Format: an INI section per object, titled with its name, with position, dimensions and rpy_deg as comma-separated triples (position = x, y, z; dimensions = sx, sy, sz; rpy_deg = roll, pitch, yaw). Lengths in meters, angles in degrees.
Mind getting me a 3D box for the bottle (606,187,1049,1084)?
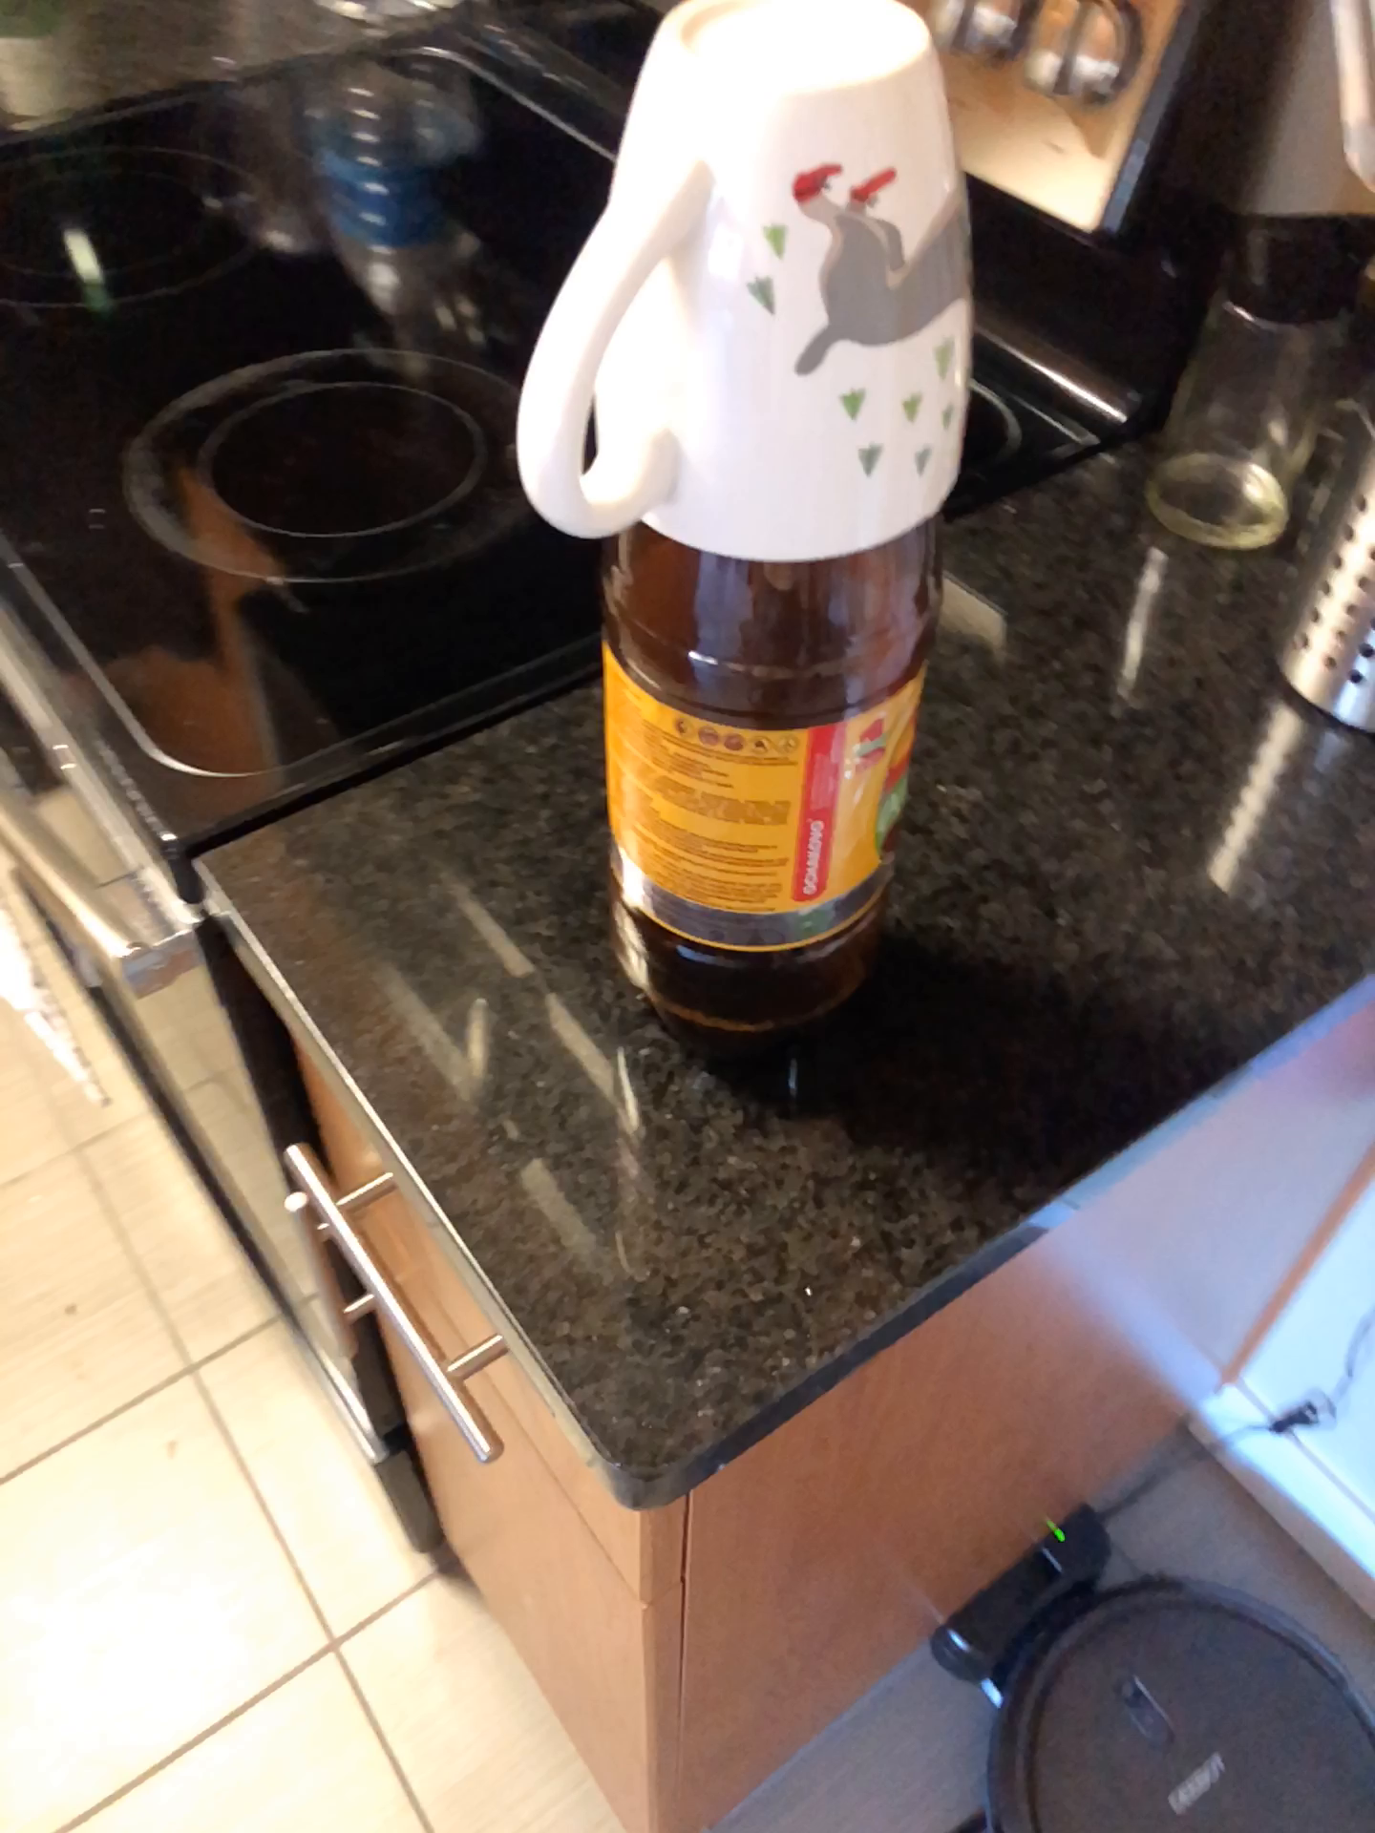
[bottle]
position = 0.029, -0.070, 0.490
dimensions = 0.100, 0.279, 0.100
rpy_deg = 1, 48, -1
